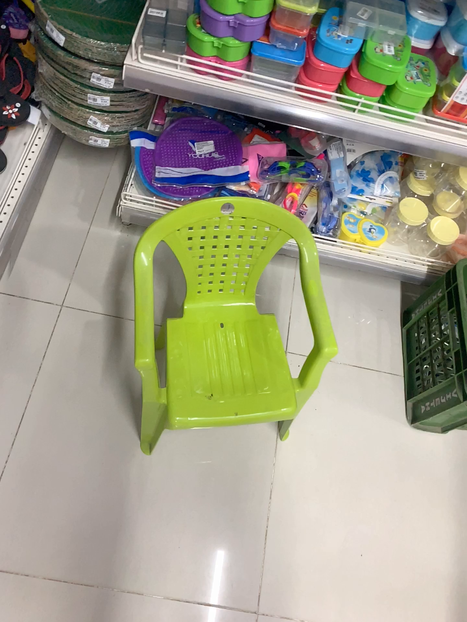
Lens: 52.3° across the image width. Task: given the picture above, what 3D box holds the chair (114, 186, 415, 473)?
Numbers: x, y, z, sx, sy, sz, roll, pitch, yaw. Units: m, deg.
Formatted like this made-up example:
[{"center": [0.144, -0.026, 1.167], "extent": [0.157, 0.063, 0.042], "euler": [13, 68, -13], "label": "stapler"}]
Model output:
[{"center": [-0.002, 0.069, 0.884], "extent": [0.390, 0.470, 0.360], "euler": [-1, 65, -10], "label": "chair"}]
